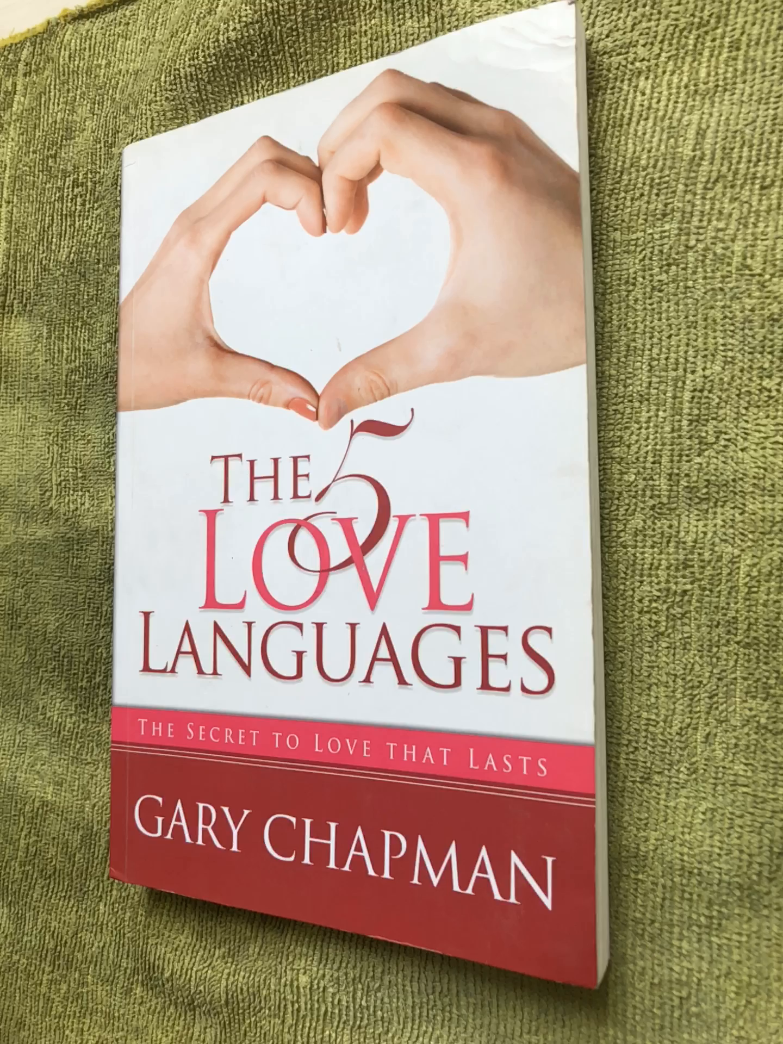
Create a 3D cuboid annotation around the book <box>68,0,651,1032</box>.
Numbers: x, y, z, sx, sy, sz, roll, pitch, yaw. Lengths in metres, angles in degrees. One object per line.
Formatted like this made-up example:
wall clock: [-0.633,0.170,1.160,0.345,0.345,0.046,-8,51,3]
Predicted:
book: [-0.014,-0.004,0.211,0.140,0.030,0.200,-2,85,28]
